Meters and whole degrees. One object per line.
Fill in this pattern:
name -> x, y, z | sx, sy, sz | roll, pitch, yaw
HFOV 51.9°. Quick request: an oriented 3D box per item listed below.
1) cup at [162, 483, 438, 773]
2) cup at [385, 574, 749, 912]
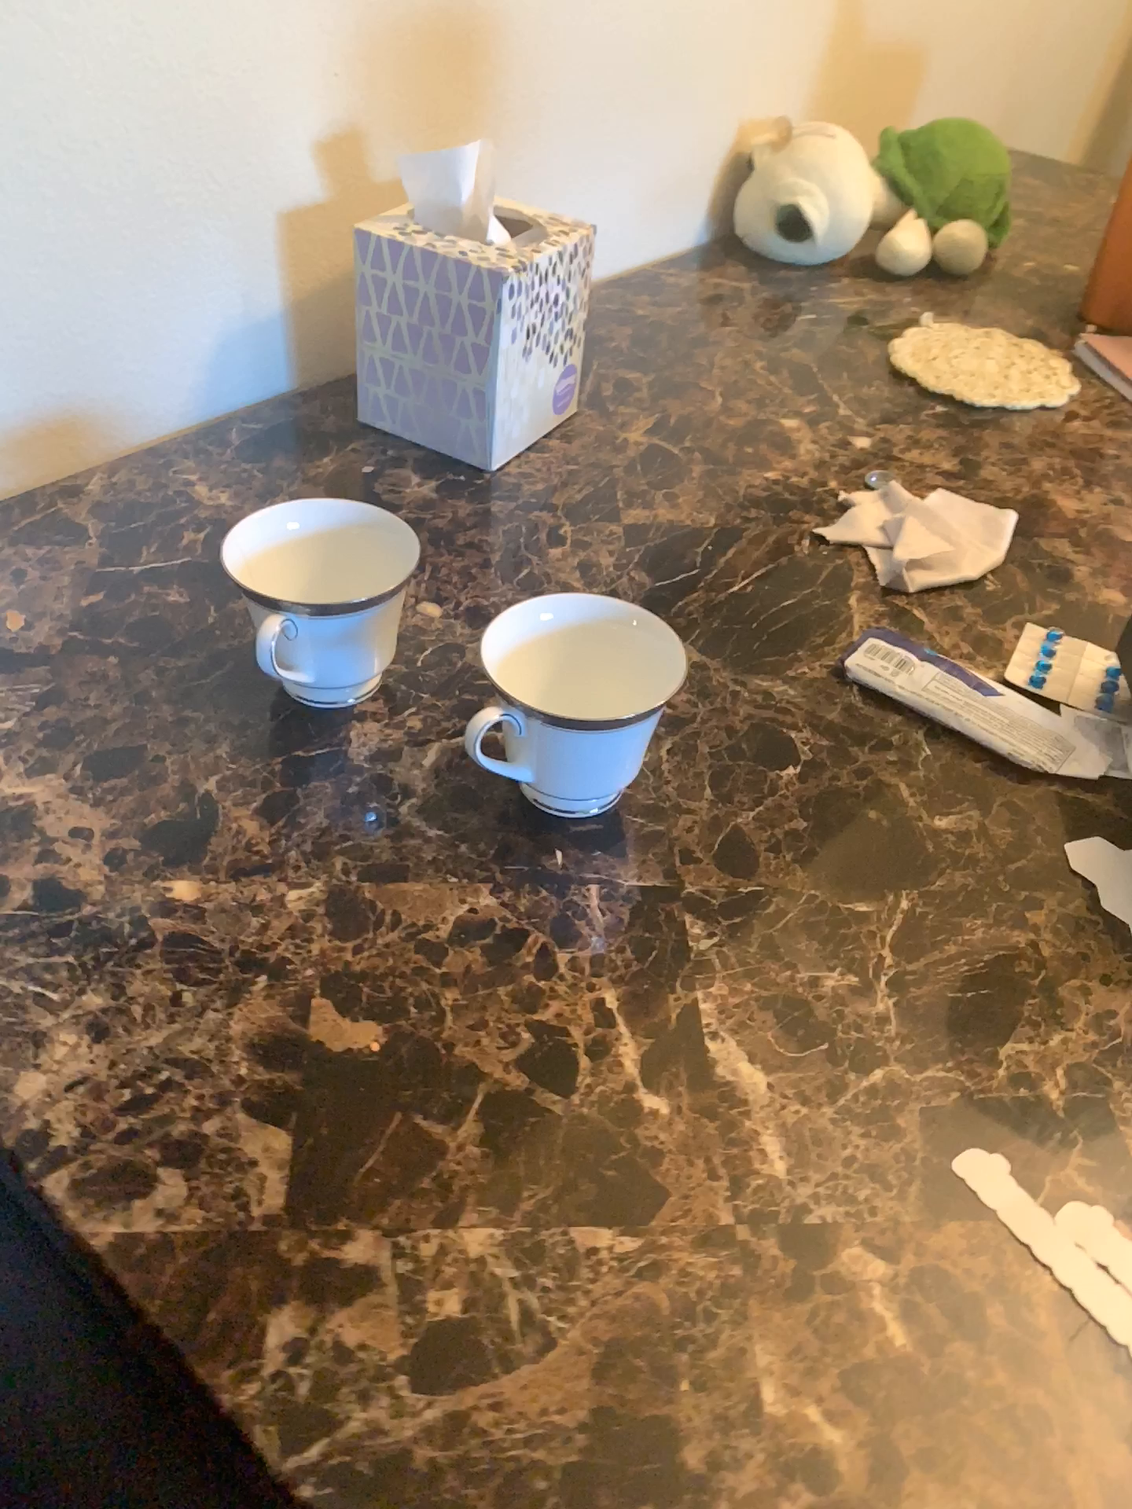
cup -> -0.114, -0.060, 0.532 | 0.090, 0.070, 0.111 | 8, 42, 3
cup -> -0.002, -0.010, 0.501 | 0.120, 0.070, 0.090 | -24, 50, -29
